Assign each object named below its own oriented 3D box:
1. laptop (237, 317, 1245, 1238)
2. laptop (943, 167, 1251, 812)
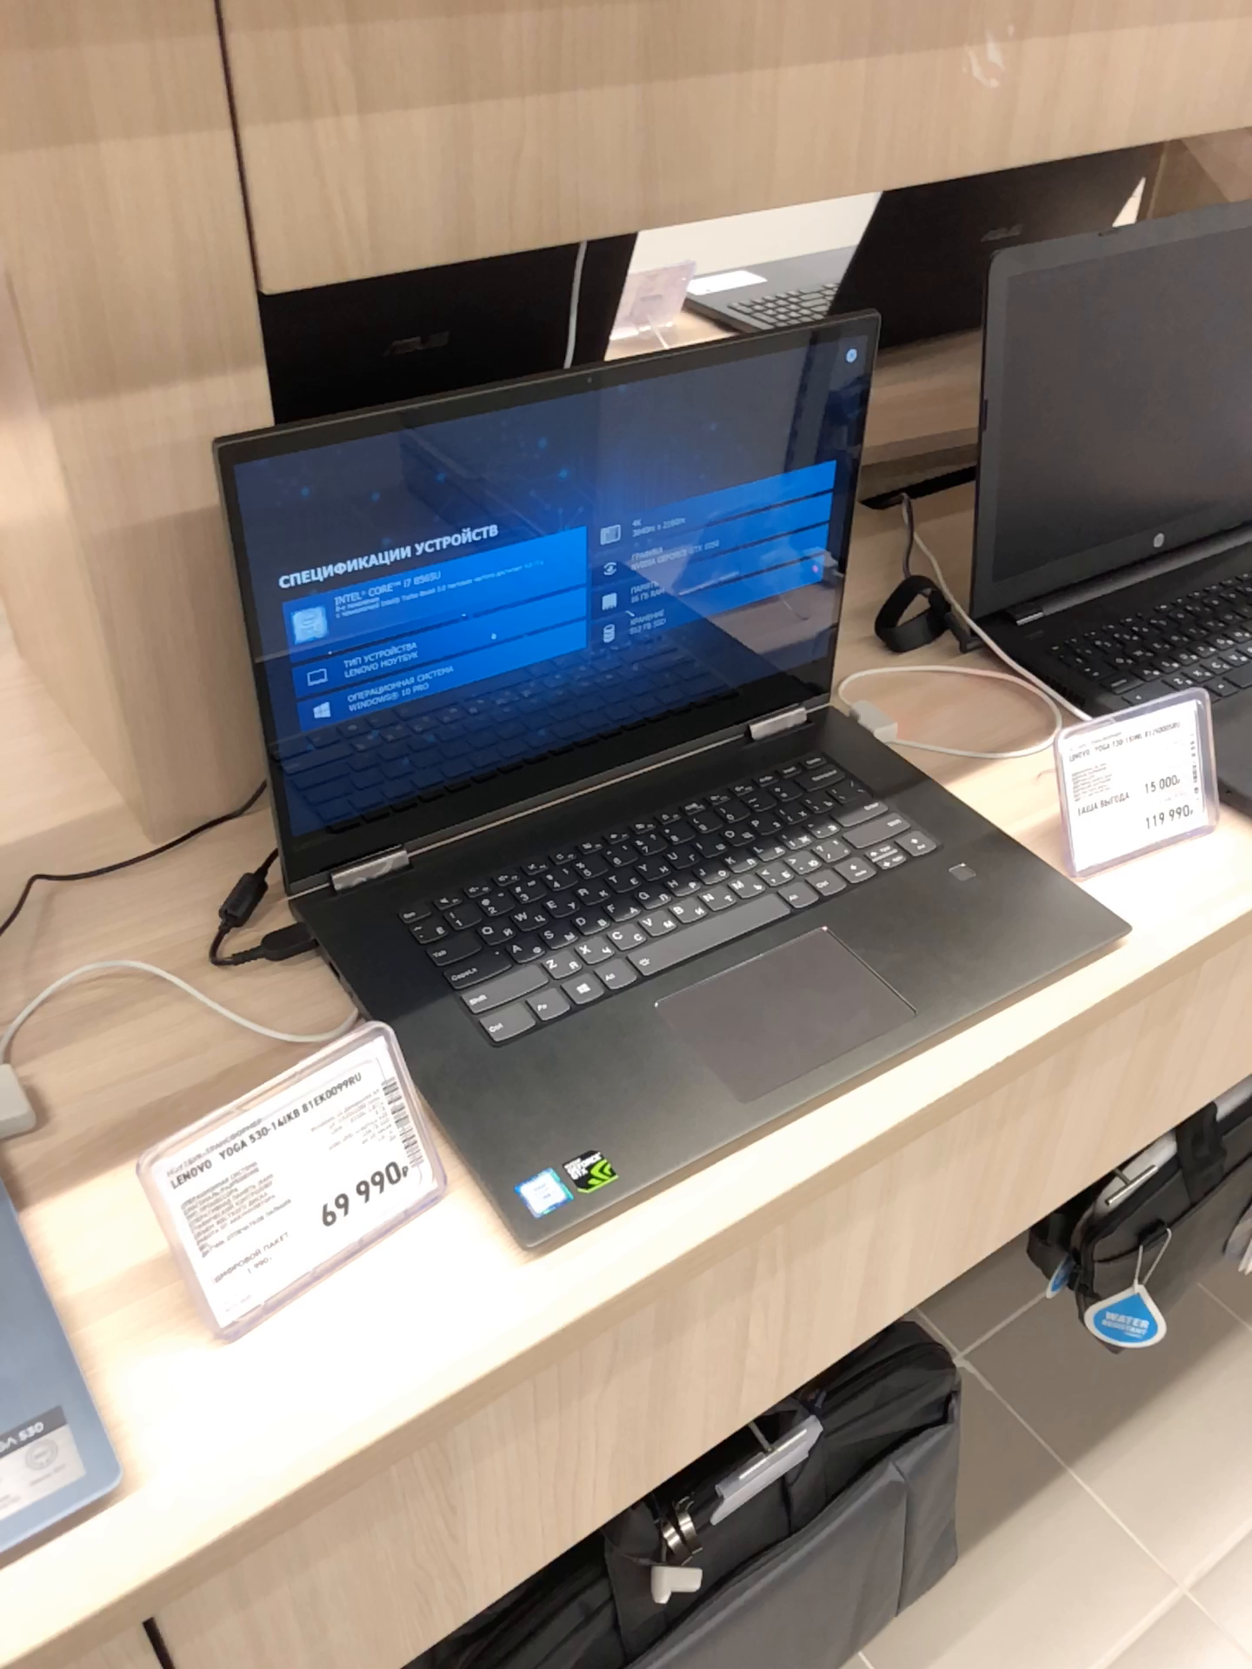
[{"bbox_3d":[0.046,-0.058,0.658,0.359,0.240,0.252,-21,43,-26],"label":"laptop"},{"bbox_3d":[0.429,-0.246,0.885,0.306,0.238,0.309,-19,40,-20],"label":"laptop"}]
